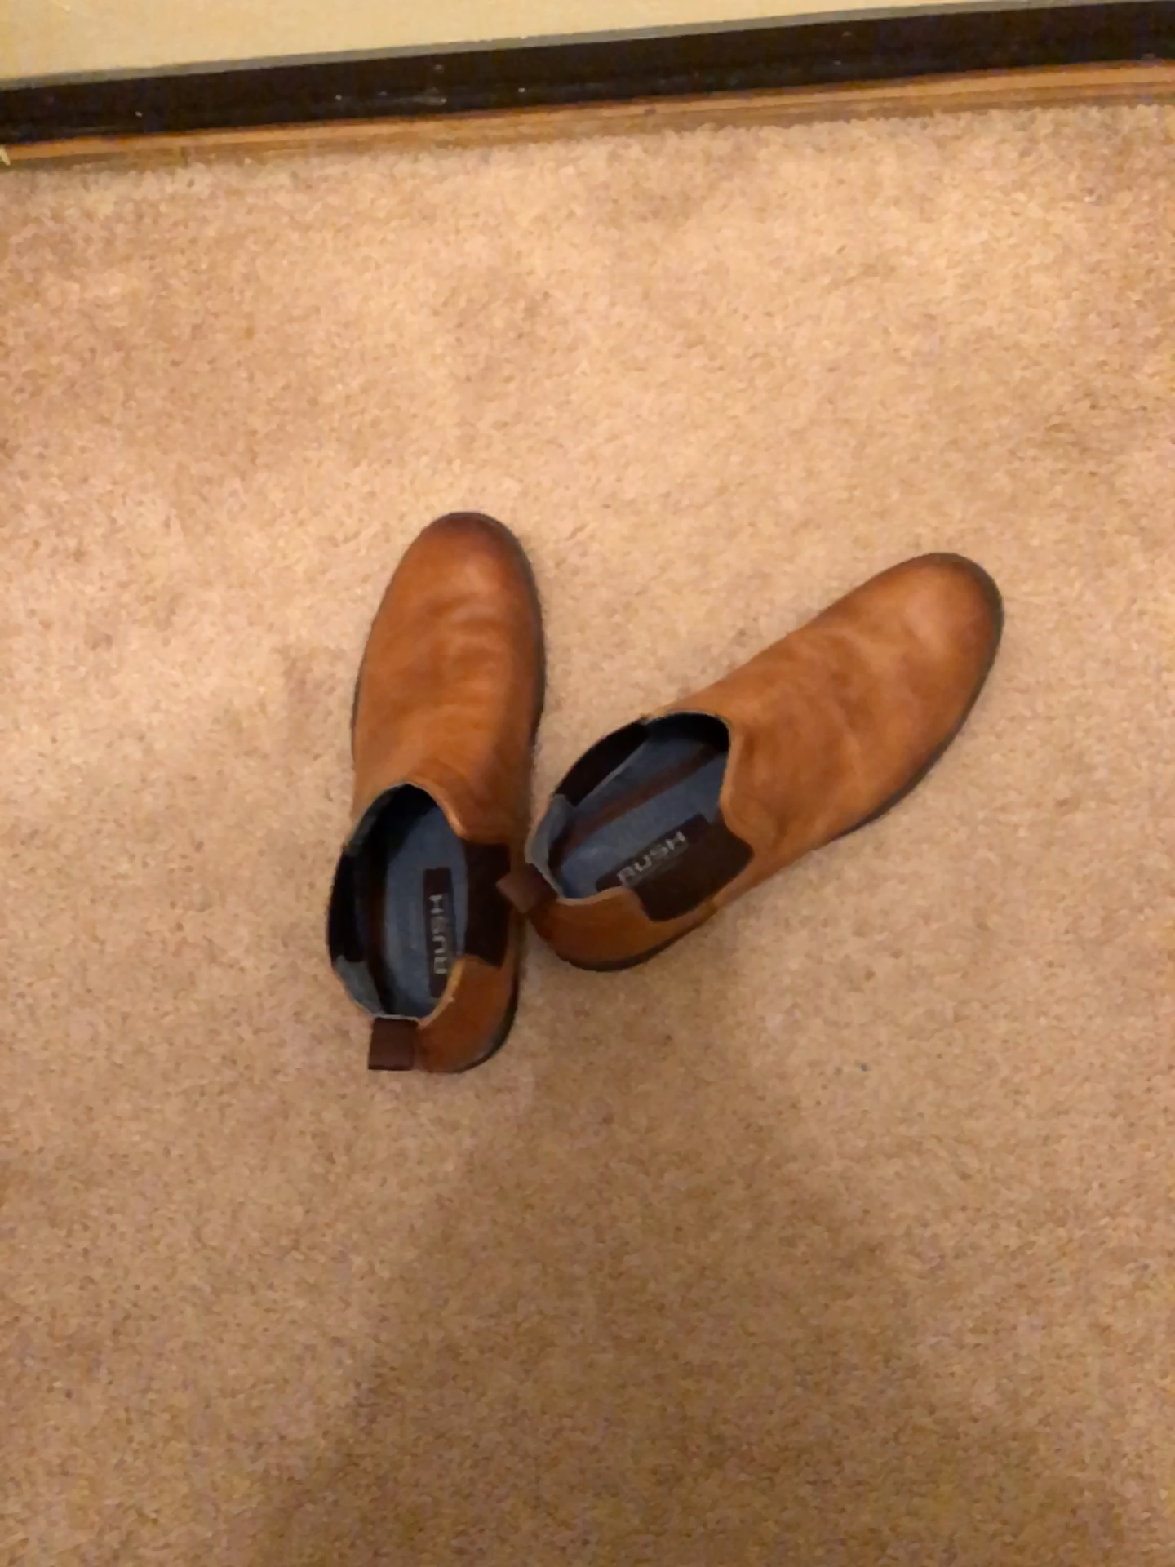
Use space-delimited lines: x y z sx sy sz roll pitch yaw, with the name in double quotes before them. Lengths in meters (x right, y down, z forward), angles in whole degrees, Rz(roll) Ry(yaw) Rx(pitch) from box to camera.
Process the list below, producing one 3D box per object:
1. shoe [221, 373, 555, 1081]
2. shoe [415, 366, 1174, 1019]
"shoe" -0.083 -0.016 0.637 0.109 0.166 0.312 1 77 4
"shoe" 0.093 -0.029 0.616 0.312 0.166 0.109 -35 77 -4
